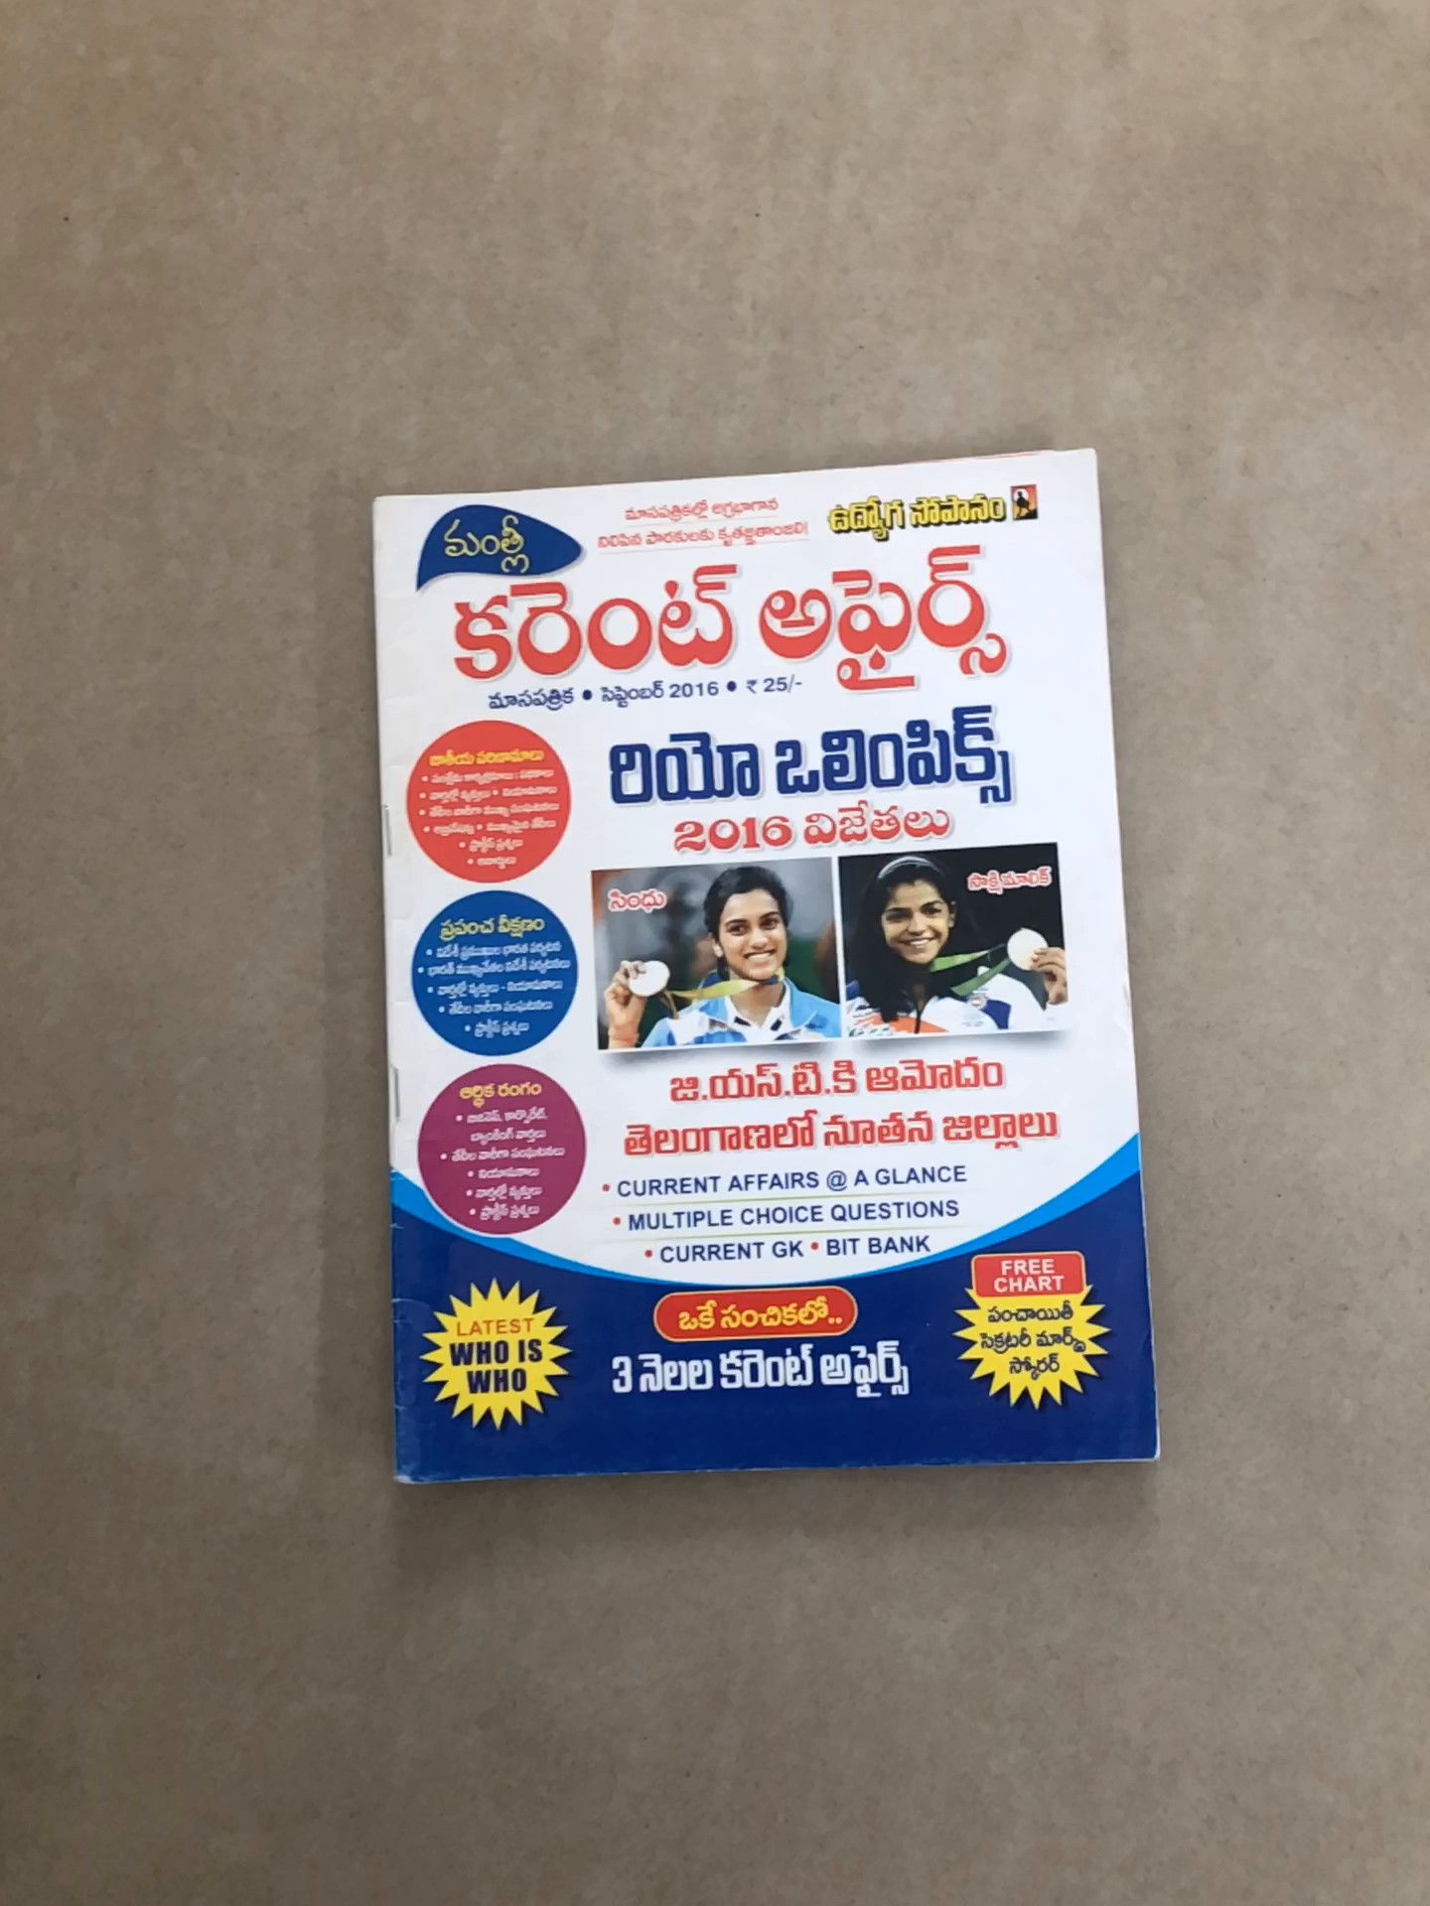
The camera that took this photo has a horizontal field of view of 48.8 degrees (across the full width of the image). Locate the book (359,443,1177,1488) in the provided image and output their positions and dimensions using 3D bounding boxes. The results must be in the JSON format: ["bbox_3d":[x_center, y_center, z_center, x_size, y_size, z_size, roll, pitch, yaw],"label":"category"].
[{"bbox_3d":[0.009,0.002,0.407,0.200,0.010,0.260,-2,85,4],"label":"book"}]
